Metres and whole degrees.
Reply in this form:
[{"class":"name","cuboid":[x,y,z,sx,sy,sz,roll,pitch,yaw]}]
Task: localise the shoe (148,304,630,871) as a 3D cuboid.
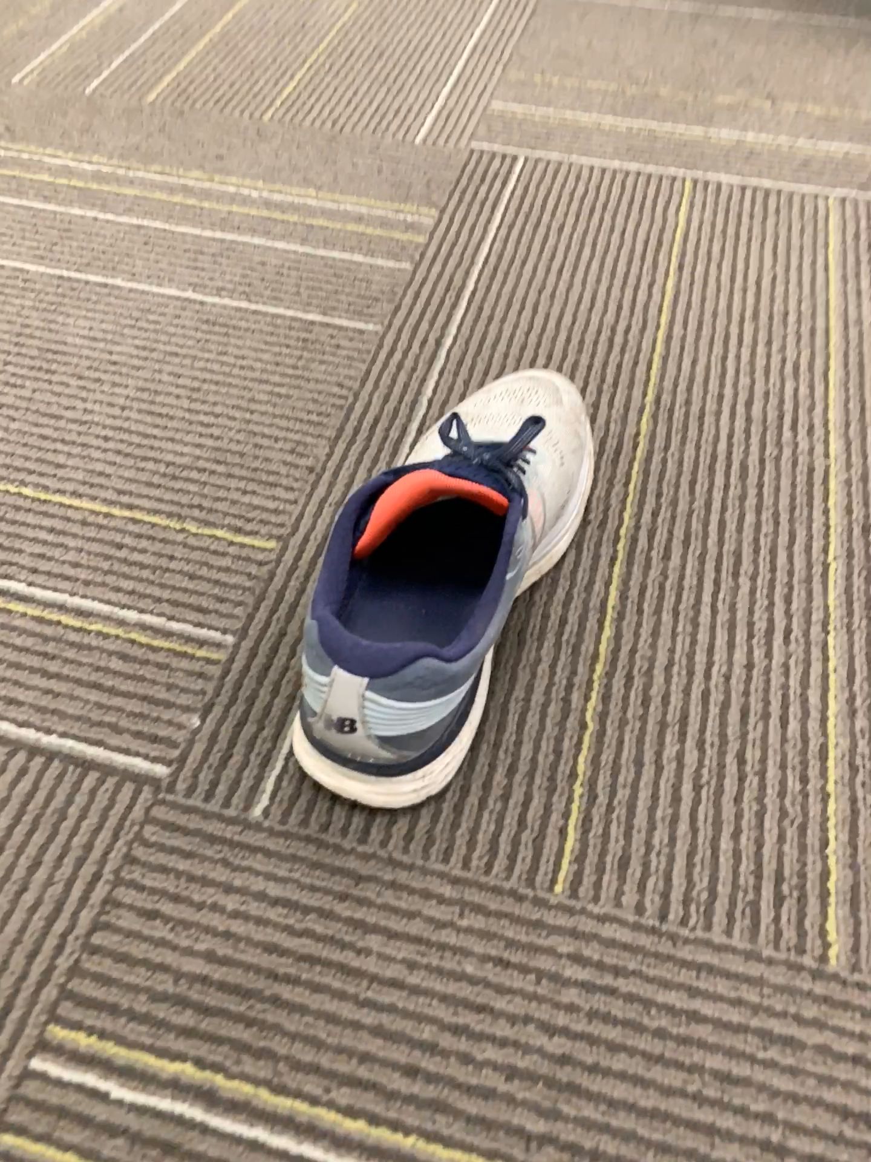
[{"class":"shoe","cuboid":[-0.006,-0.017,0.476,0.130,0.080,0.291,19,55,14]}]
